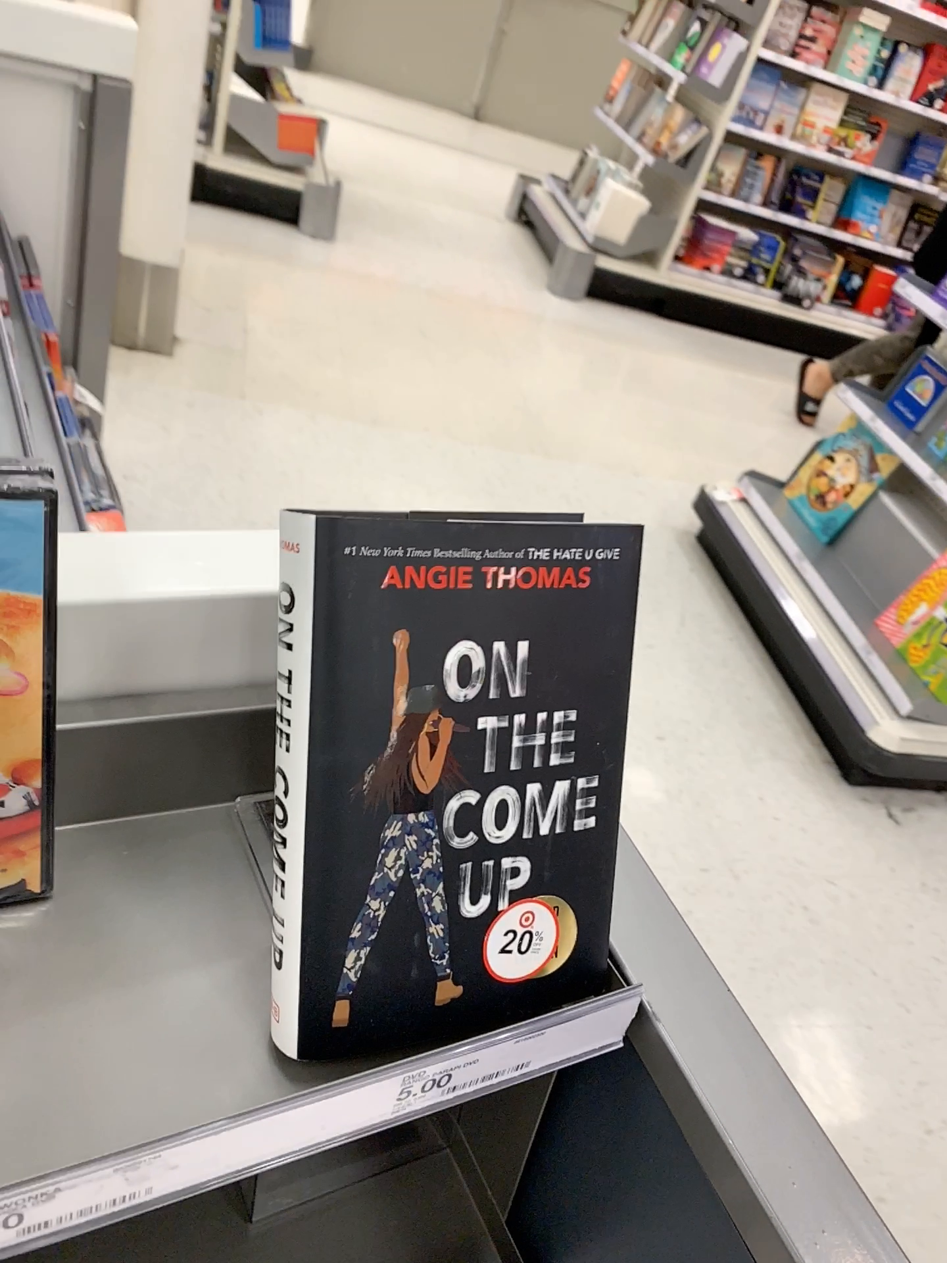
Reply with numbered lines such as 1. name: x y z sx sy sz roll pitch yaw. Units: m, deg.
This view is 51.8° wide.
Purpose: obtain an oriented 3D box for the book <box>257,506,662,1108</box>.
1. book: -0.007 0.063 0.410 0.149 0.222 0.056 -2 12 -29
